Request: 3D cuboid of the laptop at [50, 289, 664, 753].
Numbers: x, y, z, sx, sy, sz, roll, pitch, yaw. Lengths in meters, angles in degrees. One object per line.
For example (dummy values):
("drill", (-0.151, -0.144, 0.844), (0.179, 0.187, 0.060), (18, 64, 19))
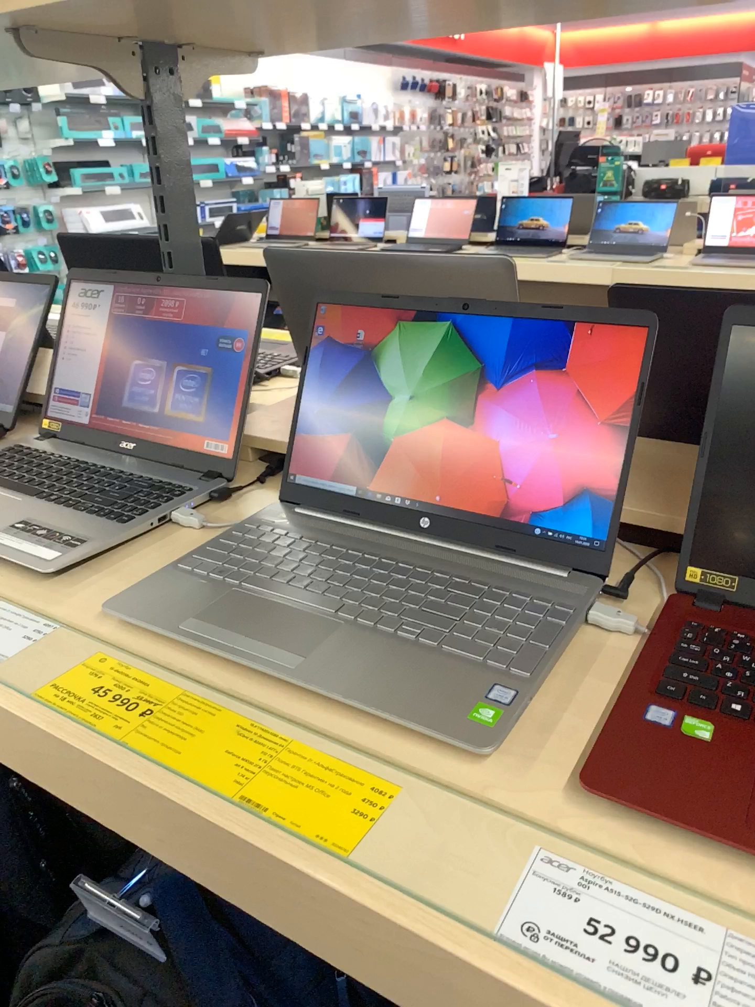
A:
("laptop", (0.004, -0.040, 0.660), (0.360, 0.209, 0.348), (12, 28, 30))
